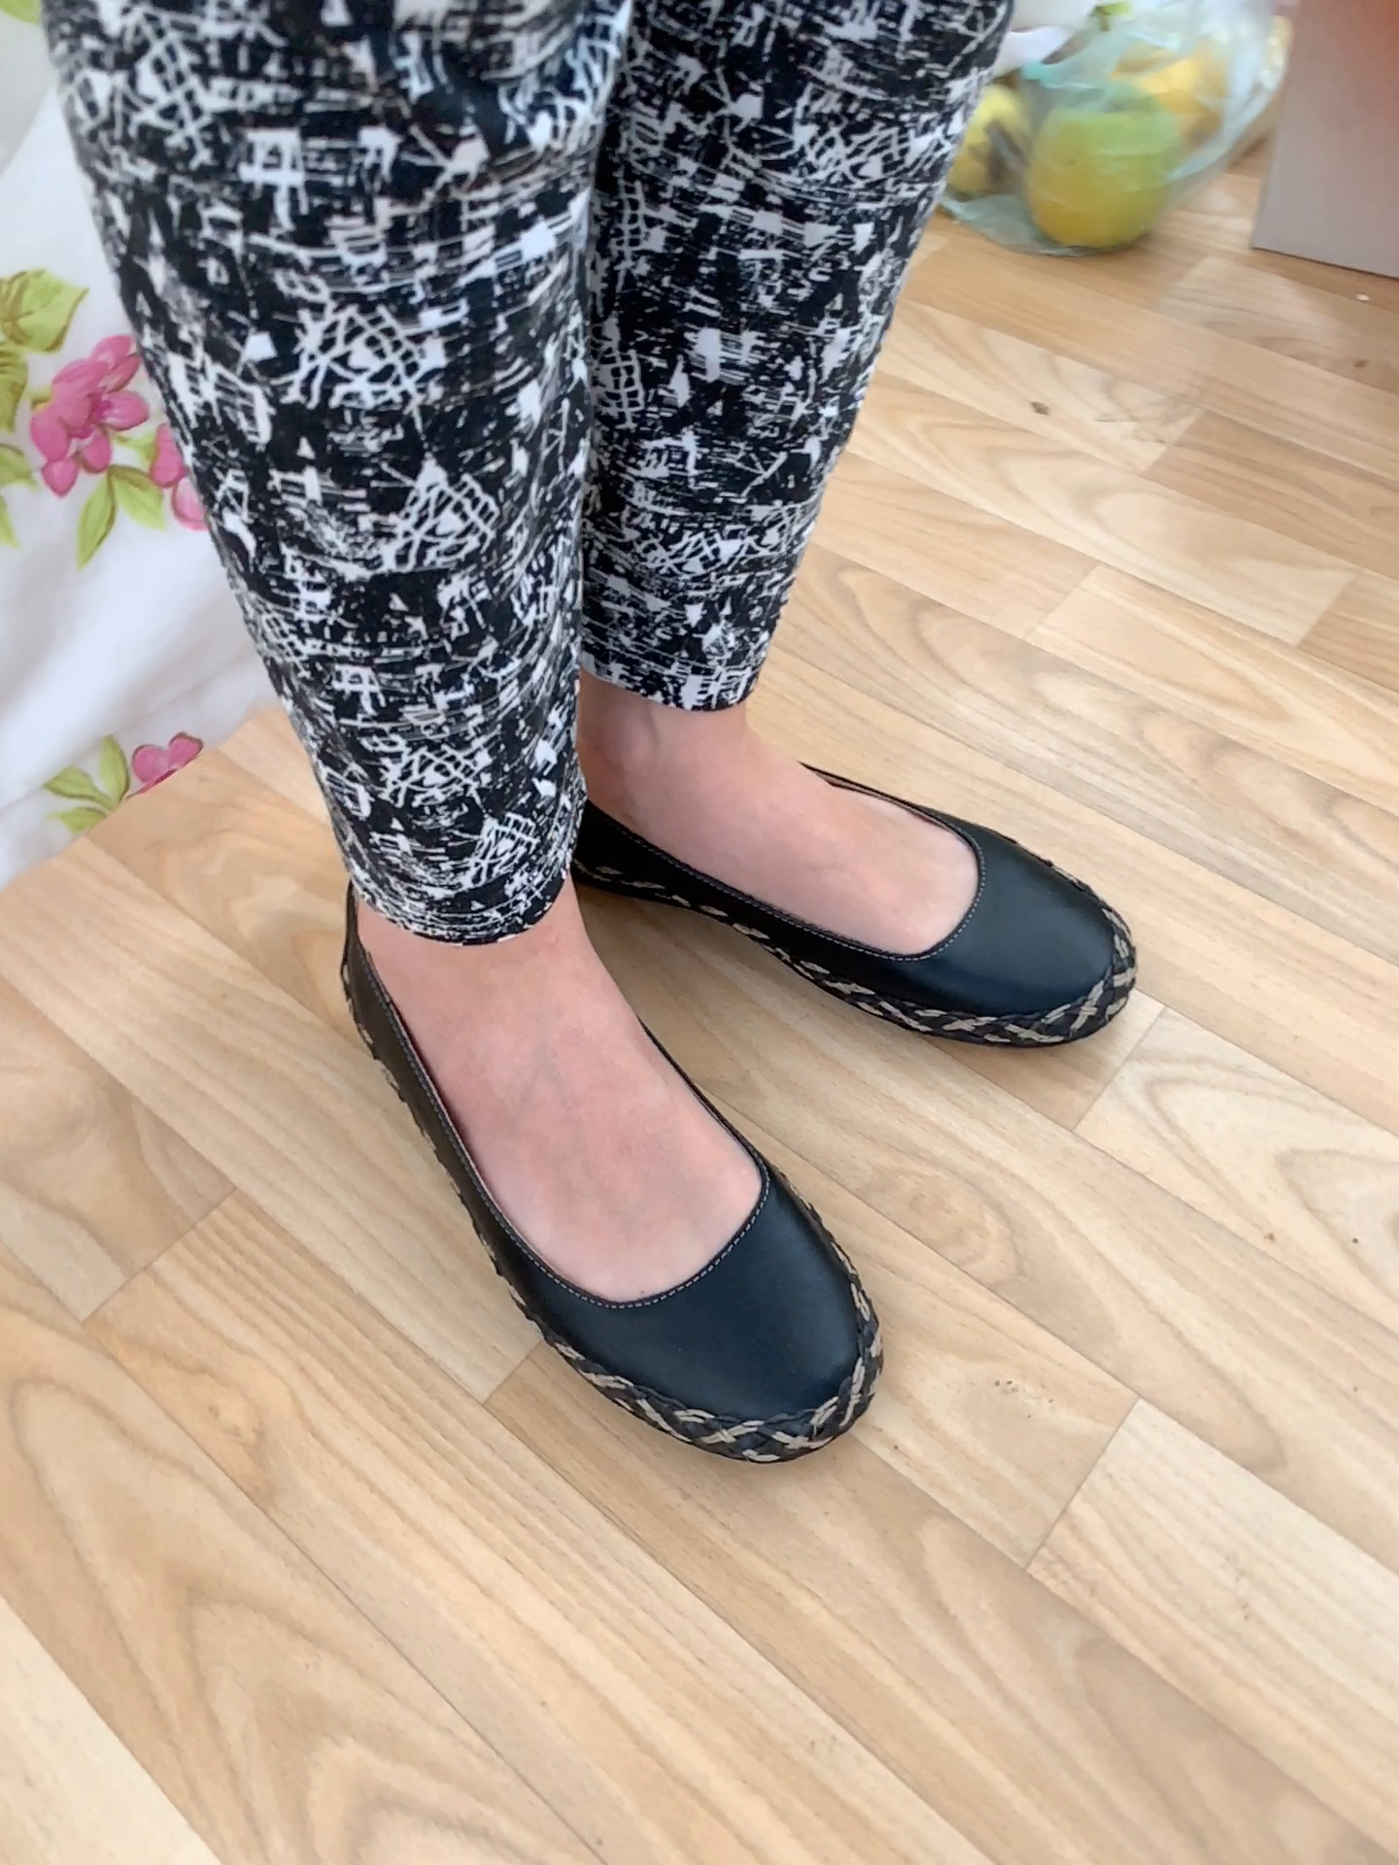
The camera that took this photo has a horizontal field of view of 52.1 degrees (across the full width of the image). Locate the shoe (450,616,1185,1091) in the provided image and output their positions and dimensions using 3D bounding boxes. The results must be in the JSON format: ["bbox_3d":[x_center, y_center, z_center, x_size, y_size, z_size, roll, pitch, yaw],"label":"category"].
[{"bbox_3d":[0.043,-0.037,0.550,0.250,0.060,0.100,19,57,17],"label":"shoe"}]

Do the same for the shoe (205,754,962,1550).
[{"bbox_3d":[-0.047,0.059,0.484,0.100,0.070,0.265,-36,59,-21],"label":"shoe"}]
